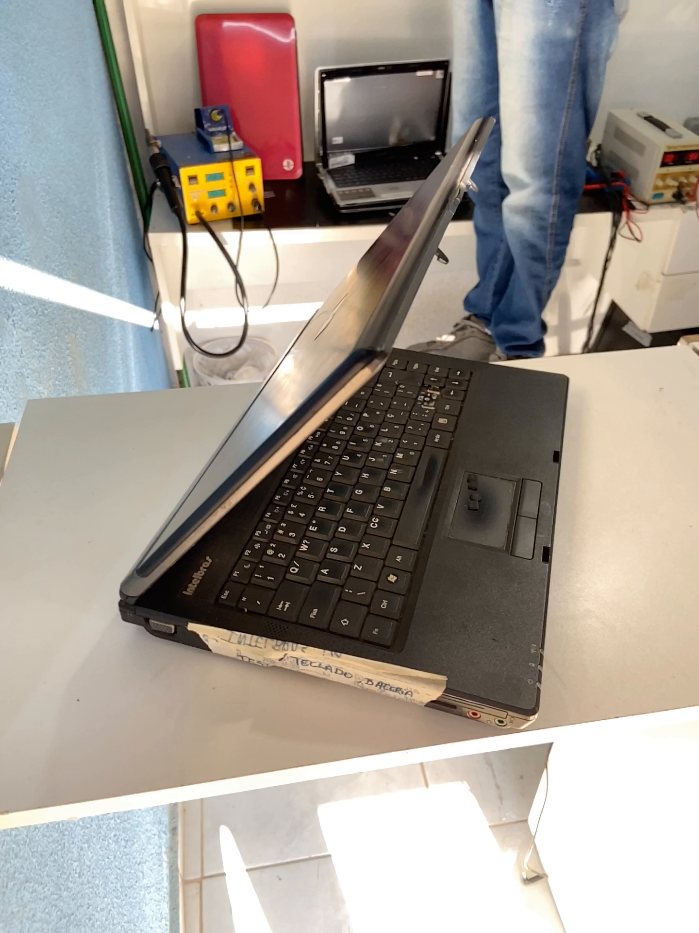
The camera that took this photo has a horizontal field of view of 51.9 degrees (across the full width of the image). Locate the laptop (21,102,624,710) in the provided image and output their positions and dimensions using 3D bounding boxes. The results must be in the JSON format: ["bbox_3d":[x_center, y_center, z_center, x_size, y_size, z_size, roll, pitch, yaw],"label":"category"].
[{"bbox_3d":[0.024,-0.073,0.443,0.231,0.191,0.324,10,41,12],"label":"laptop"}]
